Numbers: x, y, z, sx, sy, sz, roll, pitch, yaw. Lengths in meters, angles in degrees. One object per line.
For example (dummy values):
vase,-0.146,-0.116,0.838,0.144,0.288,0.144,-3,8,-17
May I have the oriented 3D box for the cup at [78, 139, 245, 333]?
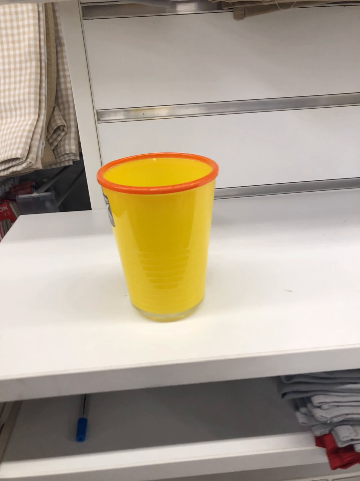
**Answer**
cup,-0.015,-0.011,0.280,0.084,0.094,0.088,-3,26,1
